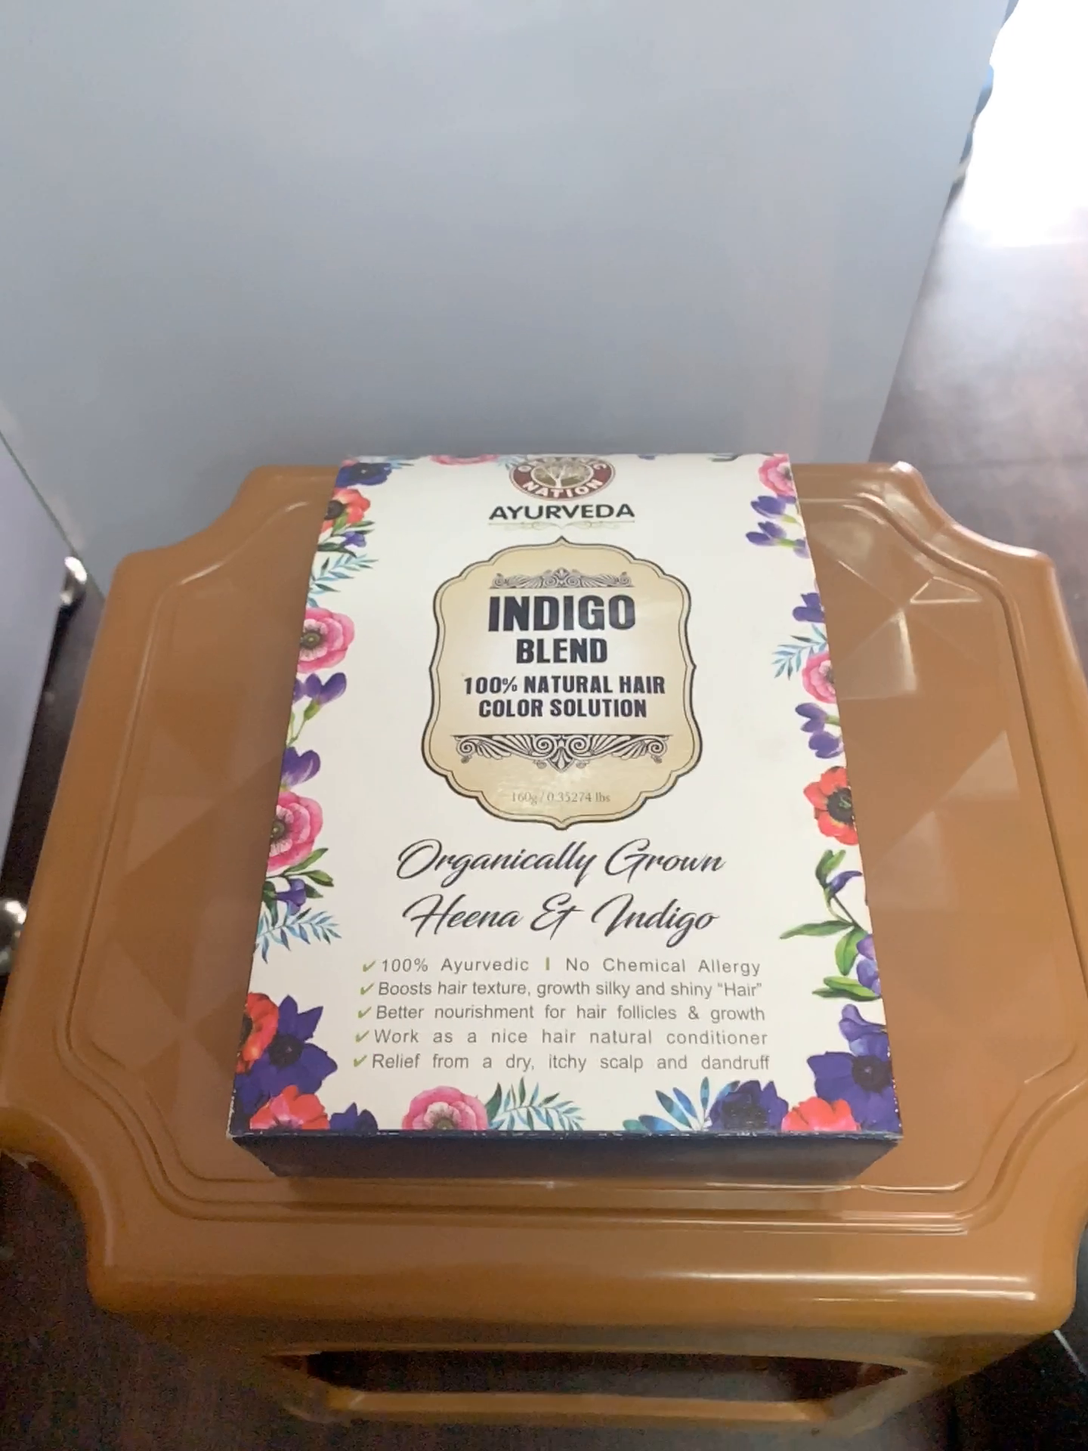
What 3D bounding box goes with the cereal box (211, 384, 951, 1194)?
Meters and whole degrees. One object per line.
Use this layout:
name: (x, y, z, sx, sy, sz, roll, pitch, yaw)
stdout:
cereal box: (0.008, 0.009, 0.295, 0.140, 0.070, 0.200, -1, 59, 2)
